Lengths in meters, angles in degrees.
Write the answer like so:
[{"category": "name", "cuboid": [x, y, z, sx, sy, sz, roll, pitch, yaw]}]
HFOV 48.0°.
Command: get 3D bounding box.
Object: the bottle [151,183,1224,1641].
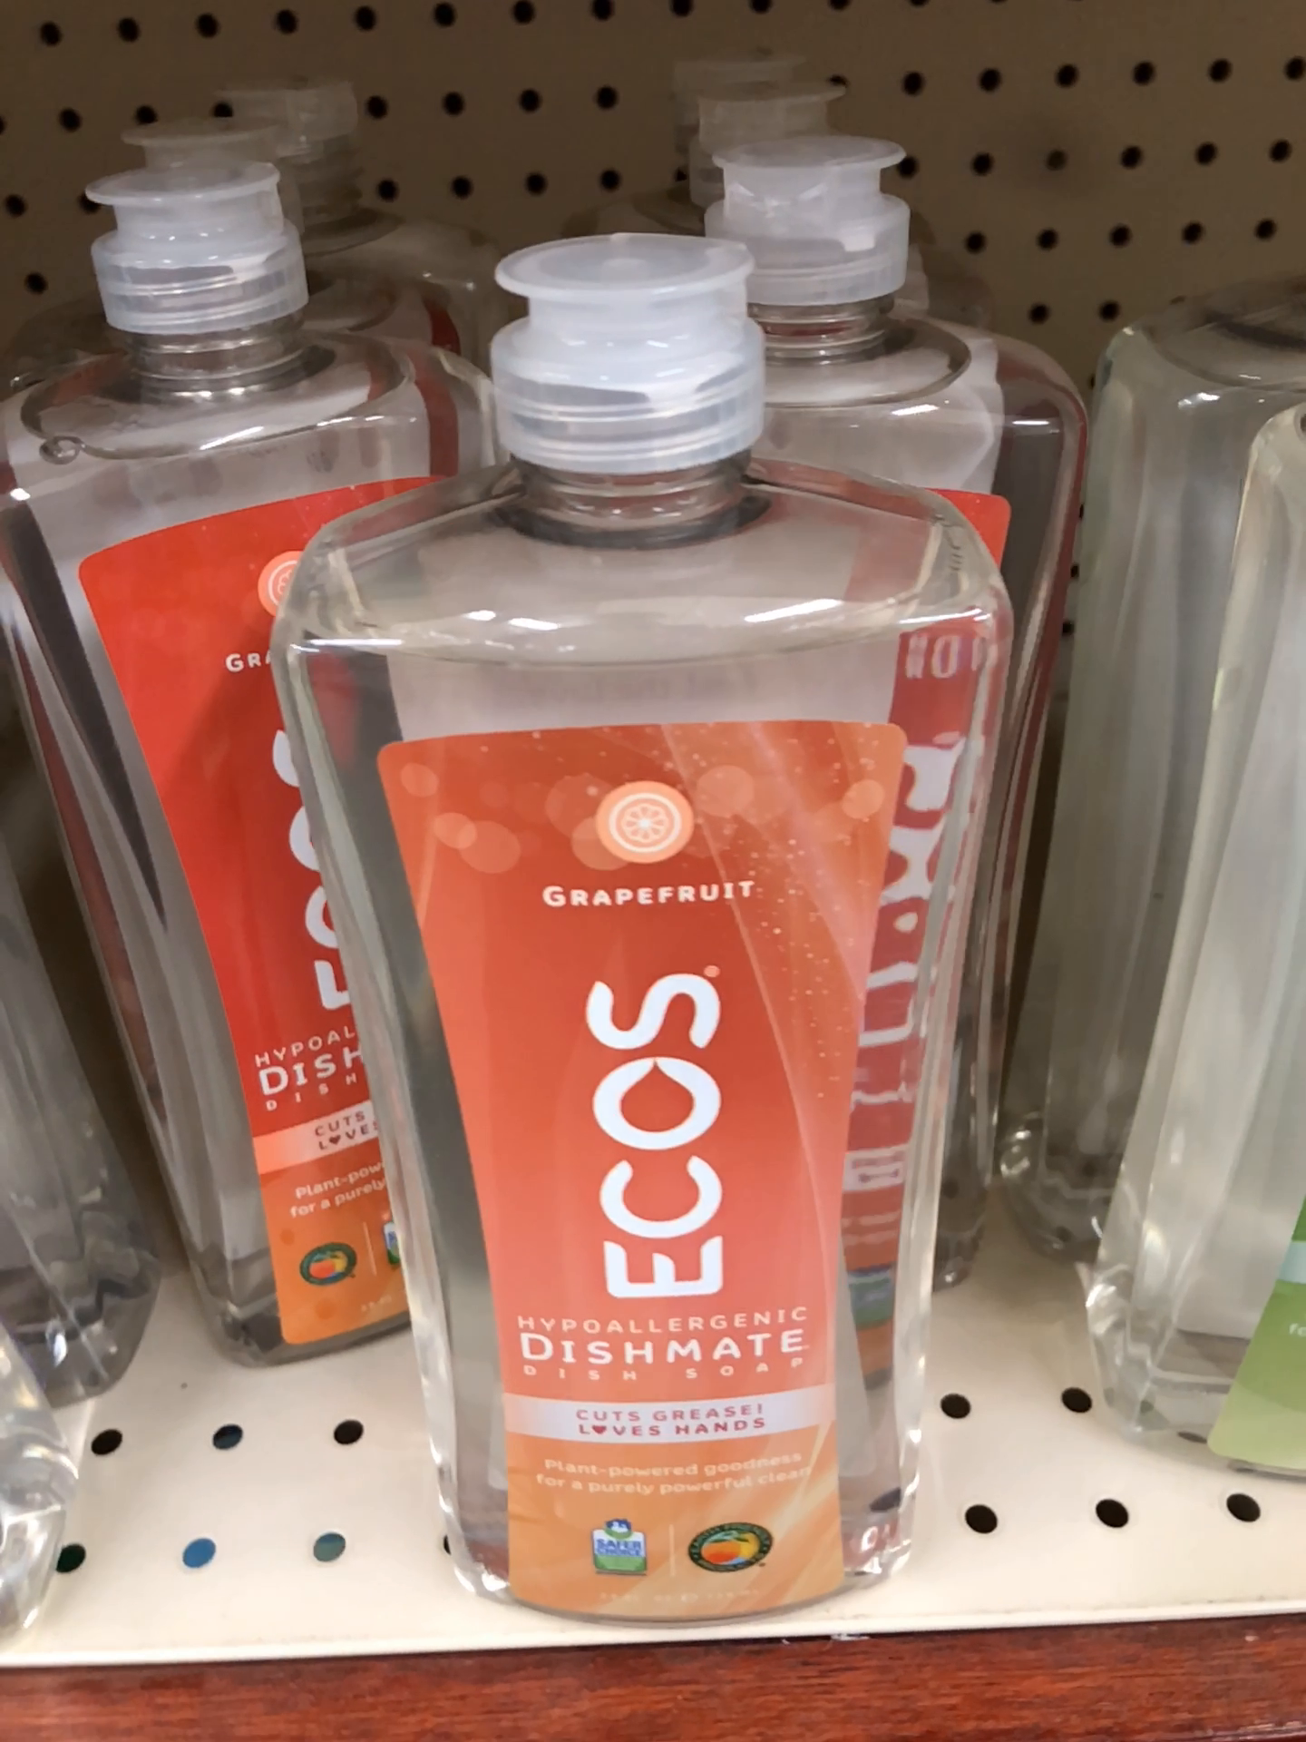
[{"category": "bottle", "cuboid": [0.006, 0.028, 0.210, 0.092, 0.219, 0.050, -3, 36, 0]}]
